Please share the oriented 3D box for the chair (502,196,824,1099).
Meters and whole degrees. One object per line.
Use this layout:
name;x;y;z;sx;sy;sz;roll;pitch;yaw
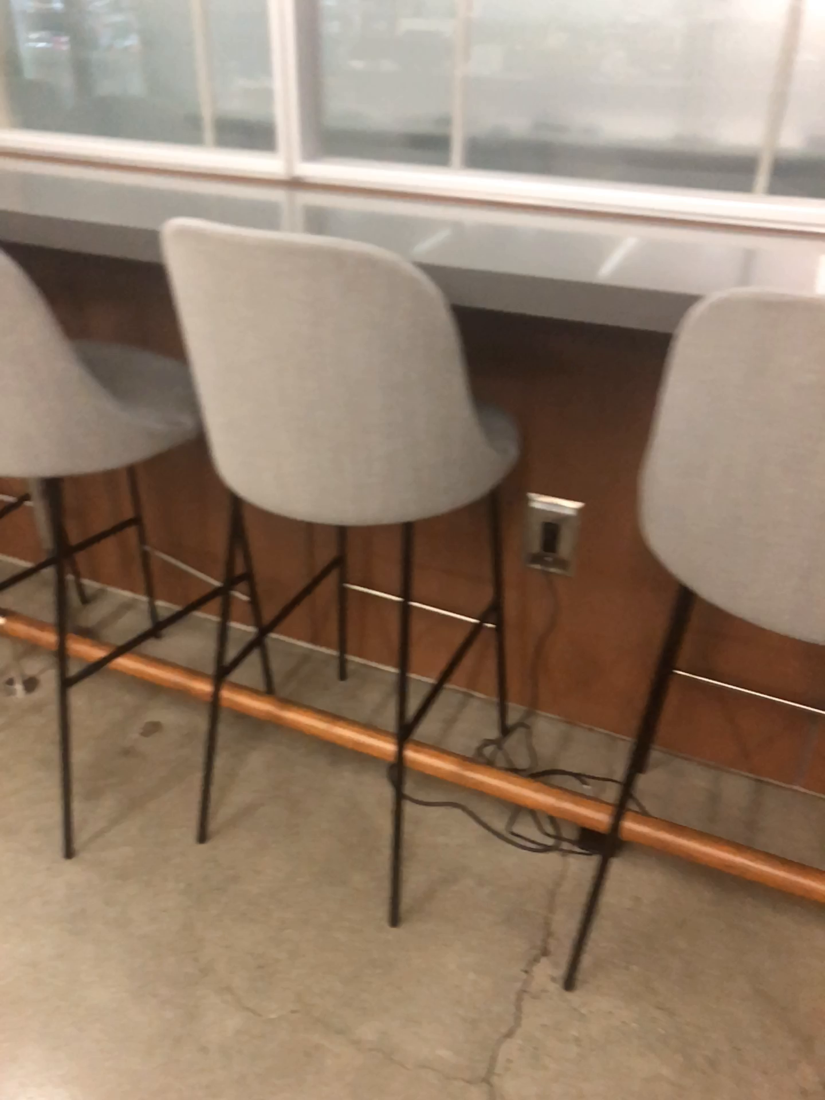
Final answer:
chair;0.501;0.179;1.334;0.490;1.180;0.595;14;34;22
